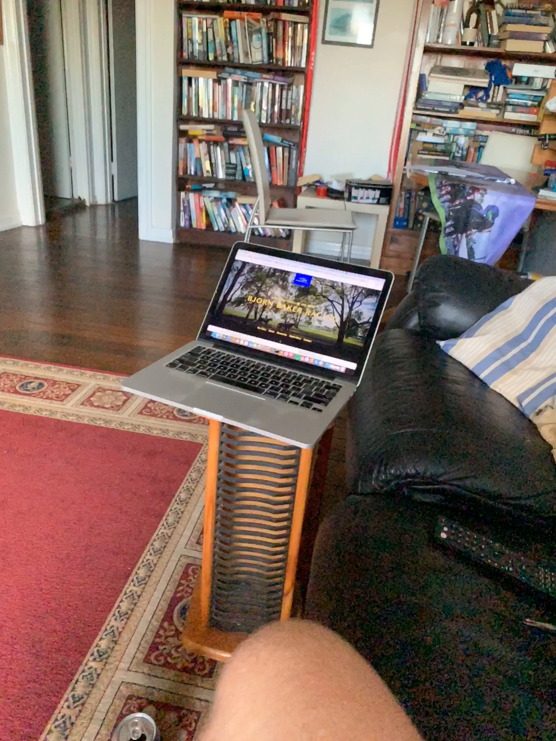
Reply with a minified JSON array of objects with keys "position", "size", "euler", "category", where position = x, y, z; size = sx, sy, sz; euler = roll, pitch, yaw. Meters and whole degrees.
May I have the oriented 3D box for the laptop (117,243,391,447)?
[{"position":[-0.022,-0.071,0.913],"size":[0.312,0.161,0.341],"euler":[16,26,20],"category":"laptop"}]
